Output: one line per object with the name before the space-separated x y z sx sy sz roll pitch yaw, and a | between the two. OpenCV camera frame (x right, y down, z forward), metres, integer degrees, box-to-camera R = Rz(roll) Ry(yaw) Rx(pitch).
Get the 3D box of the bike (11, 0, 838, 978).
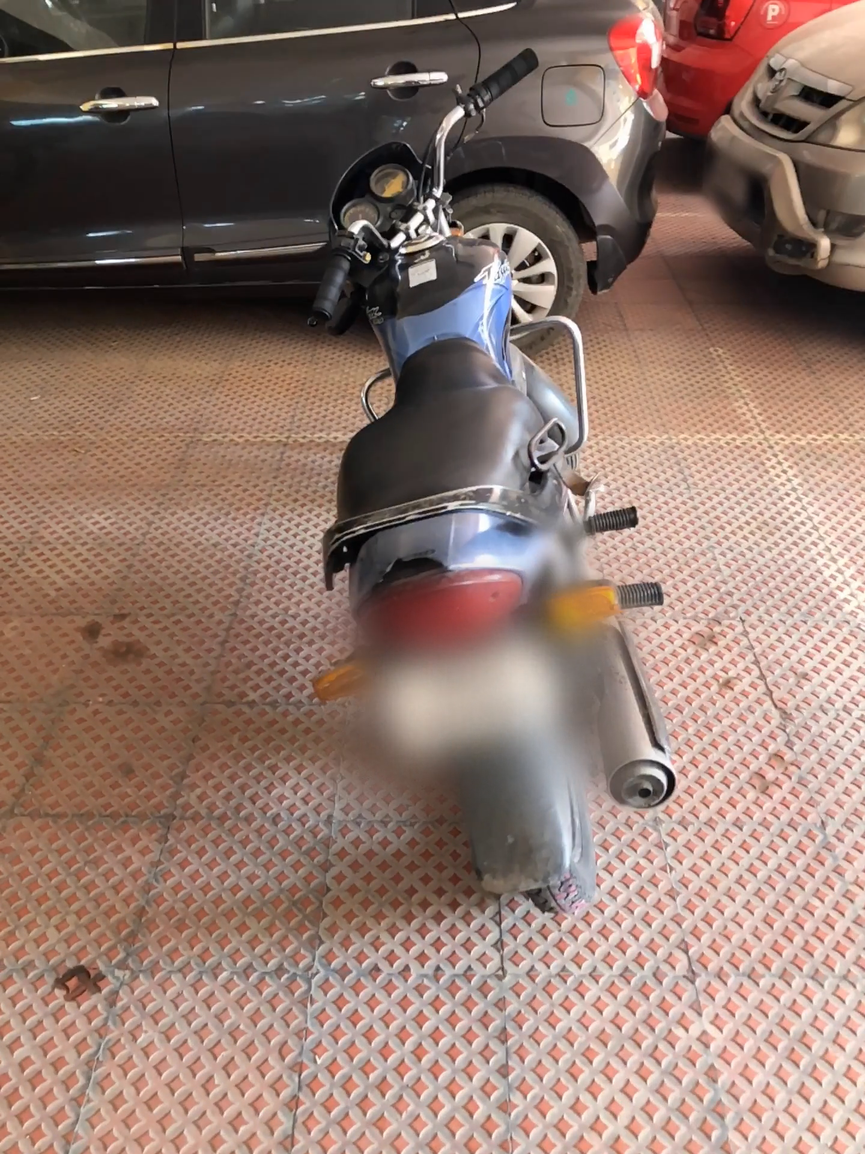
bike | -0.134 -0.364 1.802 0.733 1.072 1.698 -5 39 -7
